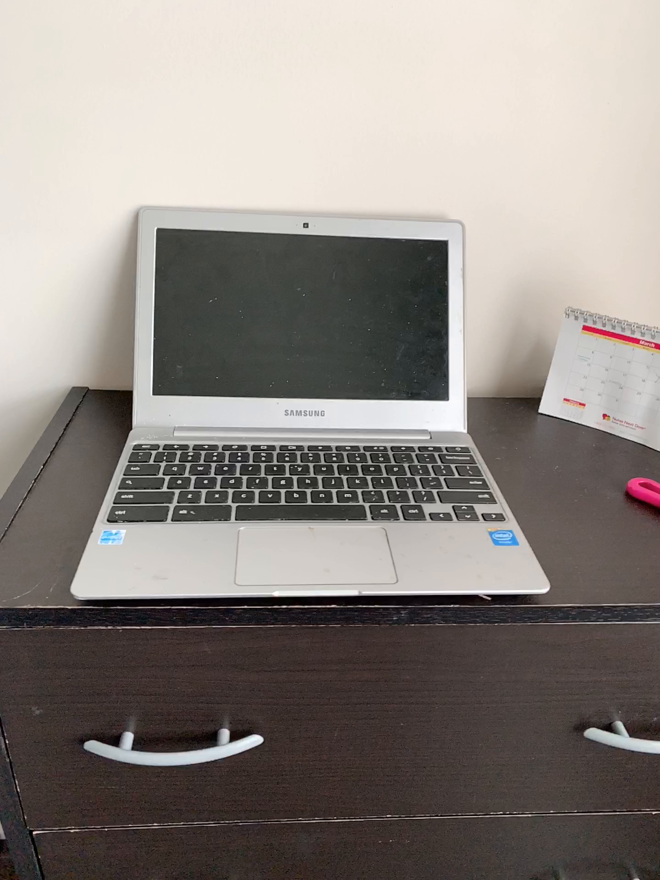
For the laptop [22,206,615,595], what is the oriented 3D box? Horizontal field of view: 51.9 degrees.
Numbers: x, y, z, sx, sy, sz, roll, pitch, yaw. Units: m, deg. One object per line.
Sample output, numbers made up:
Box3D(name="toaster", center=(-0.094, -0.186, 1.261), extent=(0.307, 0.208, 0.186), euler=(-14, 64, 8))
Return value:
Box3D(name="laptop", center=(-0.014, -0.057, 0.505), extent=(0.291, 0.153, 0.319), euler=(0, 29, -6))
